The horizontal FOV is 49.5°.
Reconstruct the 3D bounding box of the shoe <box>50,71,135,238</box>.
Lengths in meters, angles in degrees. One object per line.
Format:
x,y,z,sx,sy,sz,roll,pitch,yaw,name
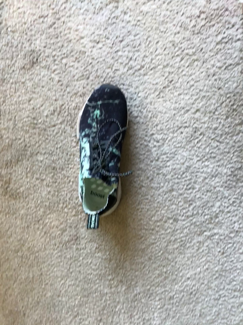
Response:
-0.053,-0.016,0.521,0.131,0.101,0.286,6,97,3,shoe
